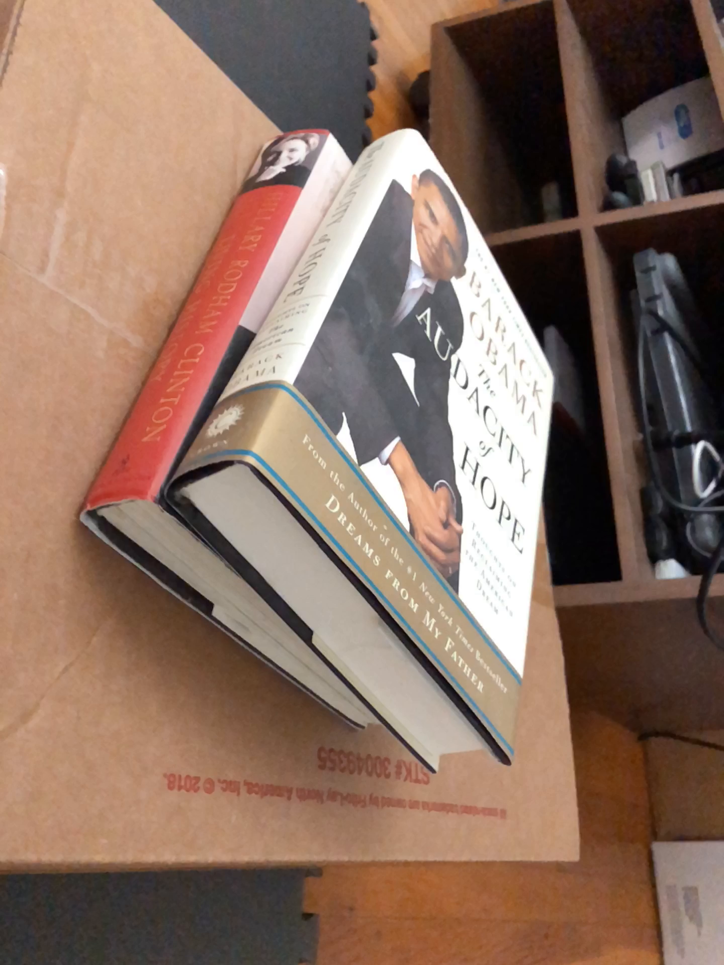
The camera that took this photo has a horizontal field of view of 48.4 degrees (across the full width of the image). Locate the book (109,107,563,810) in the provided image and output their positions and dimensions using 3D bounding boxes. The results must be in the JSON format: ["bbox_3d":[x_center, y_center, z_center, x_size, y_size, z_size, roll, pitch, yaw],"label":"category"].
[{"bbox_3d":[0.024,-0.024,0.354,0.190,0.040,0.251,53,37,-30],"label":"book"}]

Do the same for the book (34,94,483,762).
[{"bbox_3d":[-0.013,-0.033,0.360,0.170,0.040,0.251,48,39,-35],"label":"book"}]
